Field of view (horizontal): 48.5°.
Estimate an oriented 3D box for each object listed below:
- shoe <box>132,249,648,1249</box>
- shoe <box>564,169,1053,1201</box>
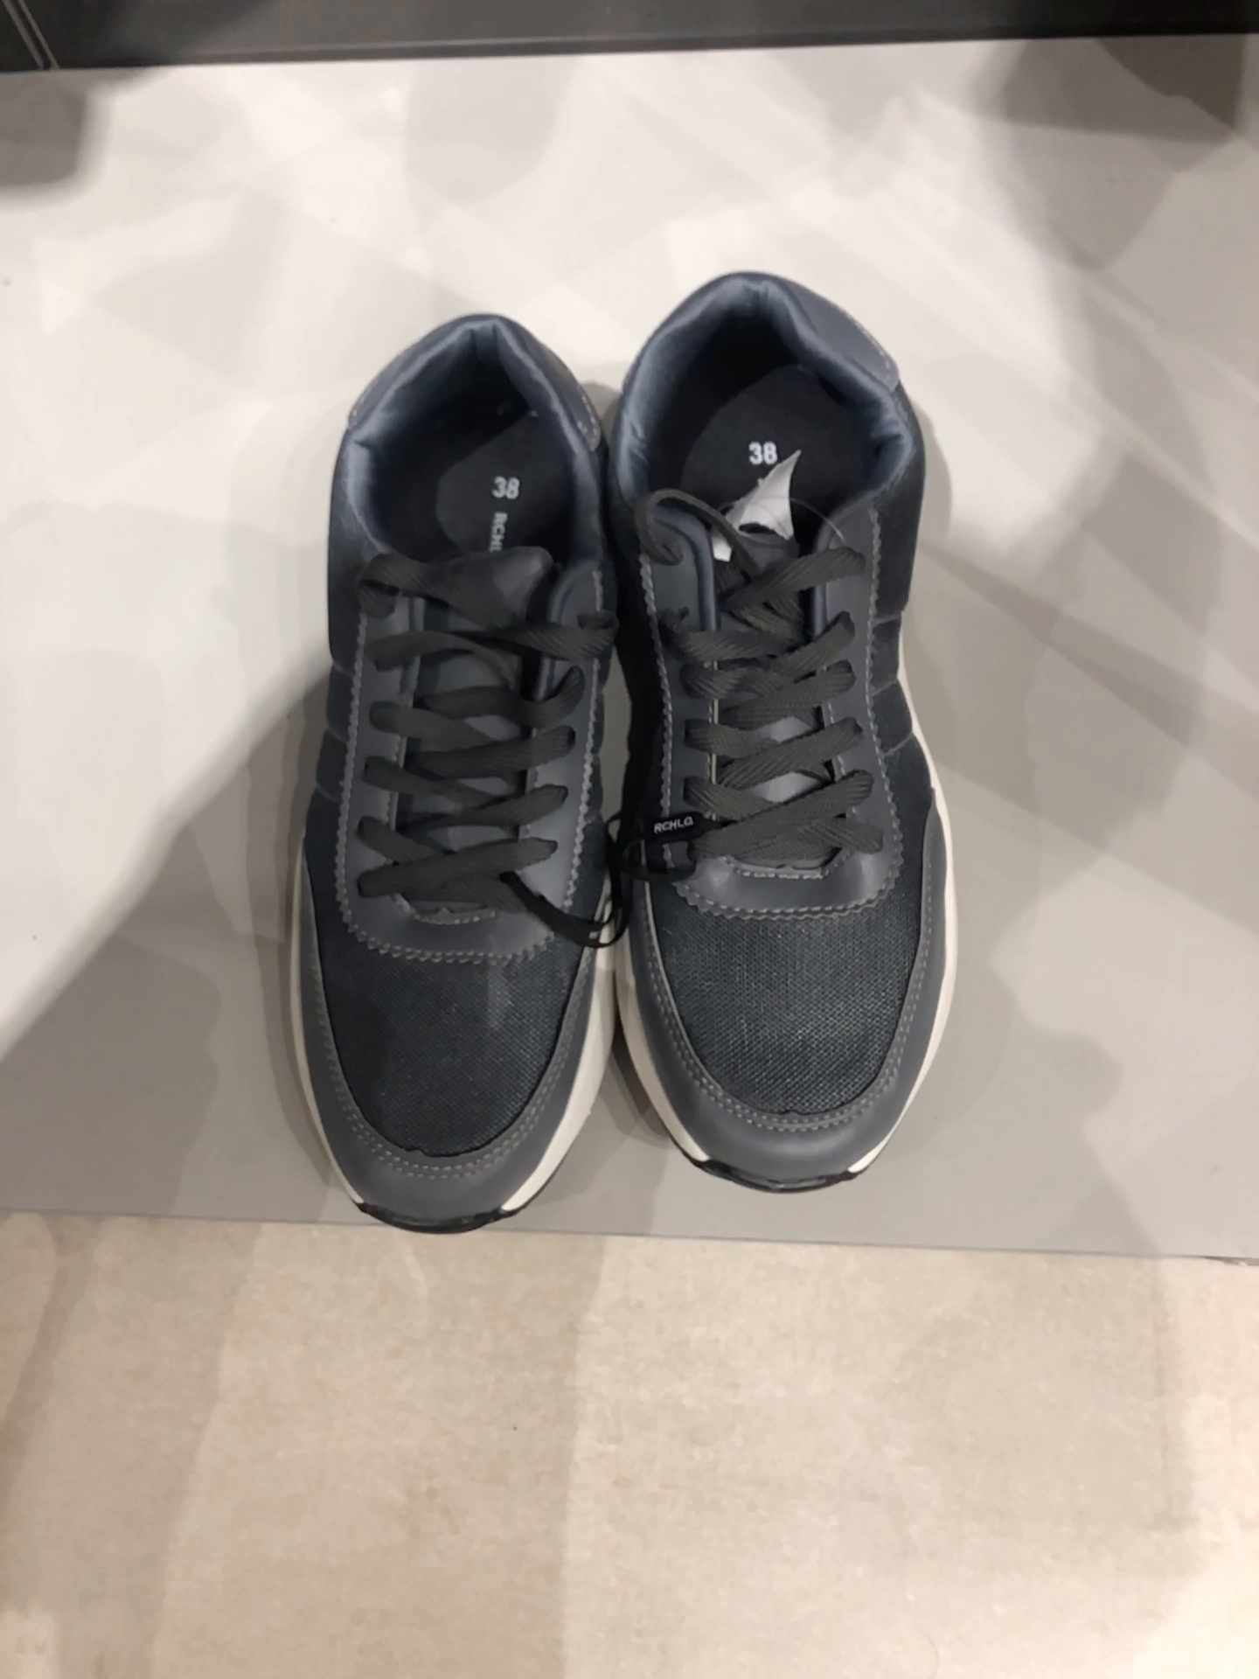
[{"bbox_3d":[-0.056,-0.026,0.420,0.110,0.100,0.281,0,71,5],"label":"shoe"},{"bbox_3d":[0.042,-0.043,0.409,0.110,0.100,0.281,-2,71,4],"label":"shoe"}]
